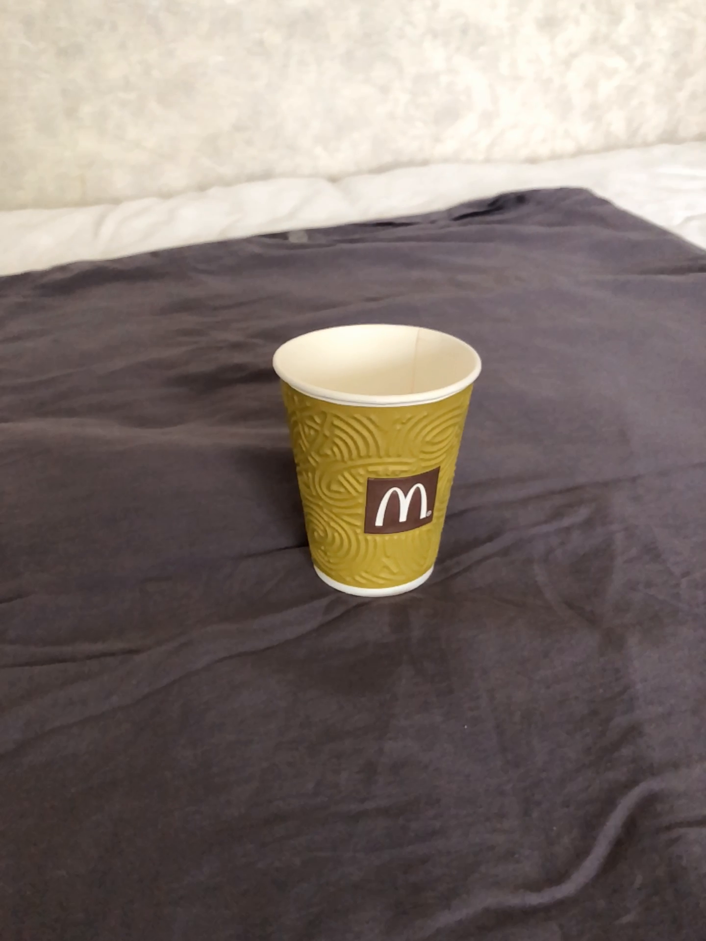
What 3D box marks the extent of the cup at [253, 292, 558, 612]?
[{"bbox_3d":[0.015,-0.014,0.349,0.107,0.101,0.099,0,28,0],"label":"cup"}]
